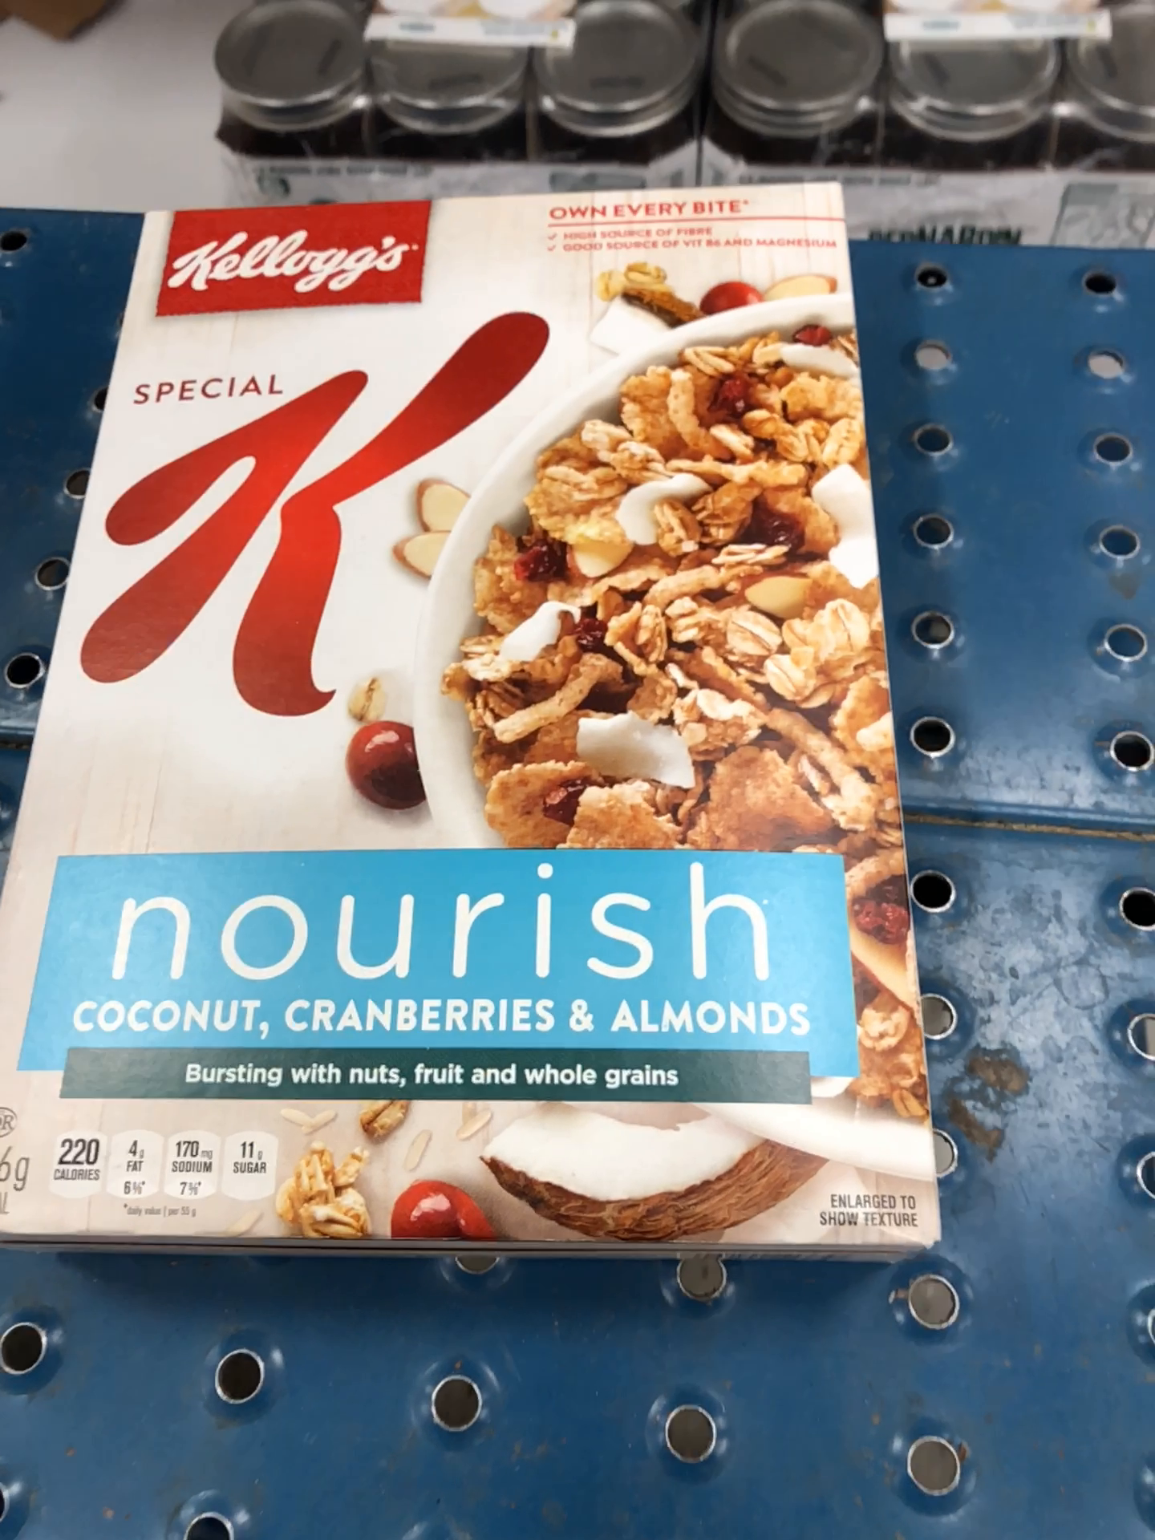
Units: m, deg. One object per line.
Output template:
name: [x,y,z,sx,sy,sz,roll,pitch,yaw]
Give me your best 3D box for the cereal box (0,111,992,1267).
cereal box: [-0.027,-0.034,0.319,0.210,0.050,0.290,-1,66,3]
